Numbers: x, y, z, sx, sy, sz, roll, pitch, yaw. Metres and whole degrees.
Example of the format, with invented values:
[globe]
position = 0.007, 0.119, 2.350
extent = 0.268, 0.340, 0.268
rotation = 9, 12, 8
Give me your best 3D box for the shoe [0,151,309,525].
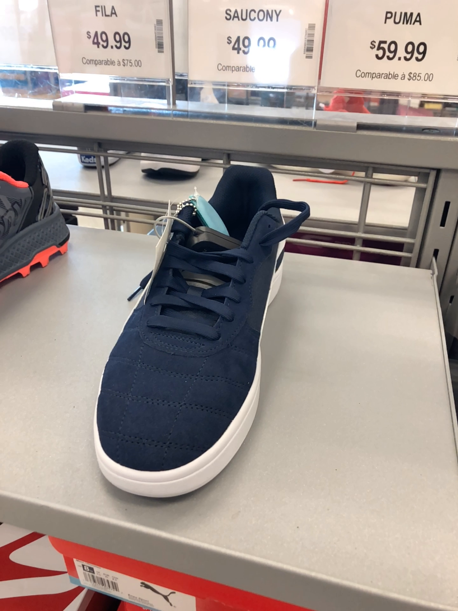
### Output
[shoe]
position = -0.025, -0.009, 0.337
extent = 0.119, 0.119, 0.242
rotation = 8, 31, 12
